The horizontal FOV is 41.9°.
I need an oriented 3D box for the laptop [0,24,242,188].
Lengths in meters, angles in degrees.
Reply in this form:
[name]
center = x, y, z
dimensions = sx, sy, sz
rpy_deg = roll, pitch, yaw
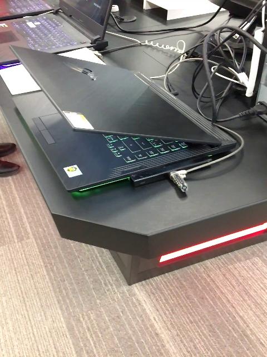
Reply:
[laptop]
center = -0.051, -0.161, 0.662
dimensions = 0.294, 0.120, 0.339
rpy_deg = -20, 46, -16
